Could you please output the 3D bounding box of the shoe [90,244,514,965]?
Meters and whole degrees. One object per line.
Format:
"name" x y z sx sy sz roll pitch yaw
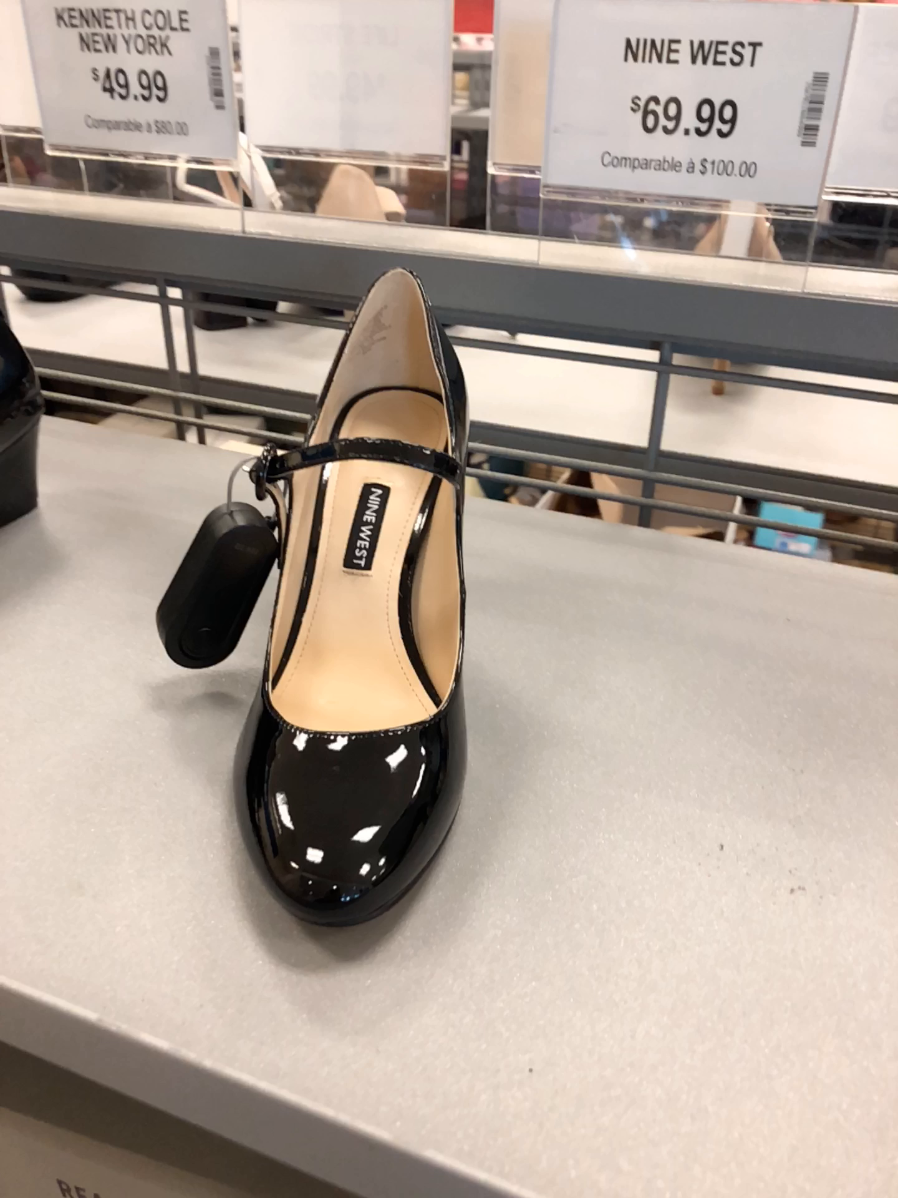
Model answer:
"shoe" -0.027 -0.025 0.369 0.090 0.151 0.258 3 31 3
